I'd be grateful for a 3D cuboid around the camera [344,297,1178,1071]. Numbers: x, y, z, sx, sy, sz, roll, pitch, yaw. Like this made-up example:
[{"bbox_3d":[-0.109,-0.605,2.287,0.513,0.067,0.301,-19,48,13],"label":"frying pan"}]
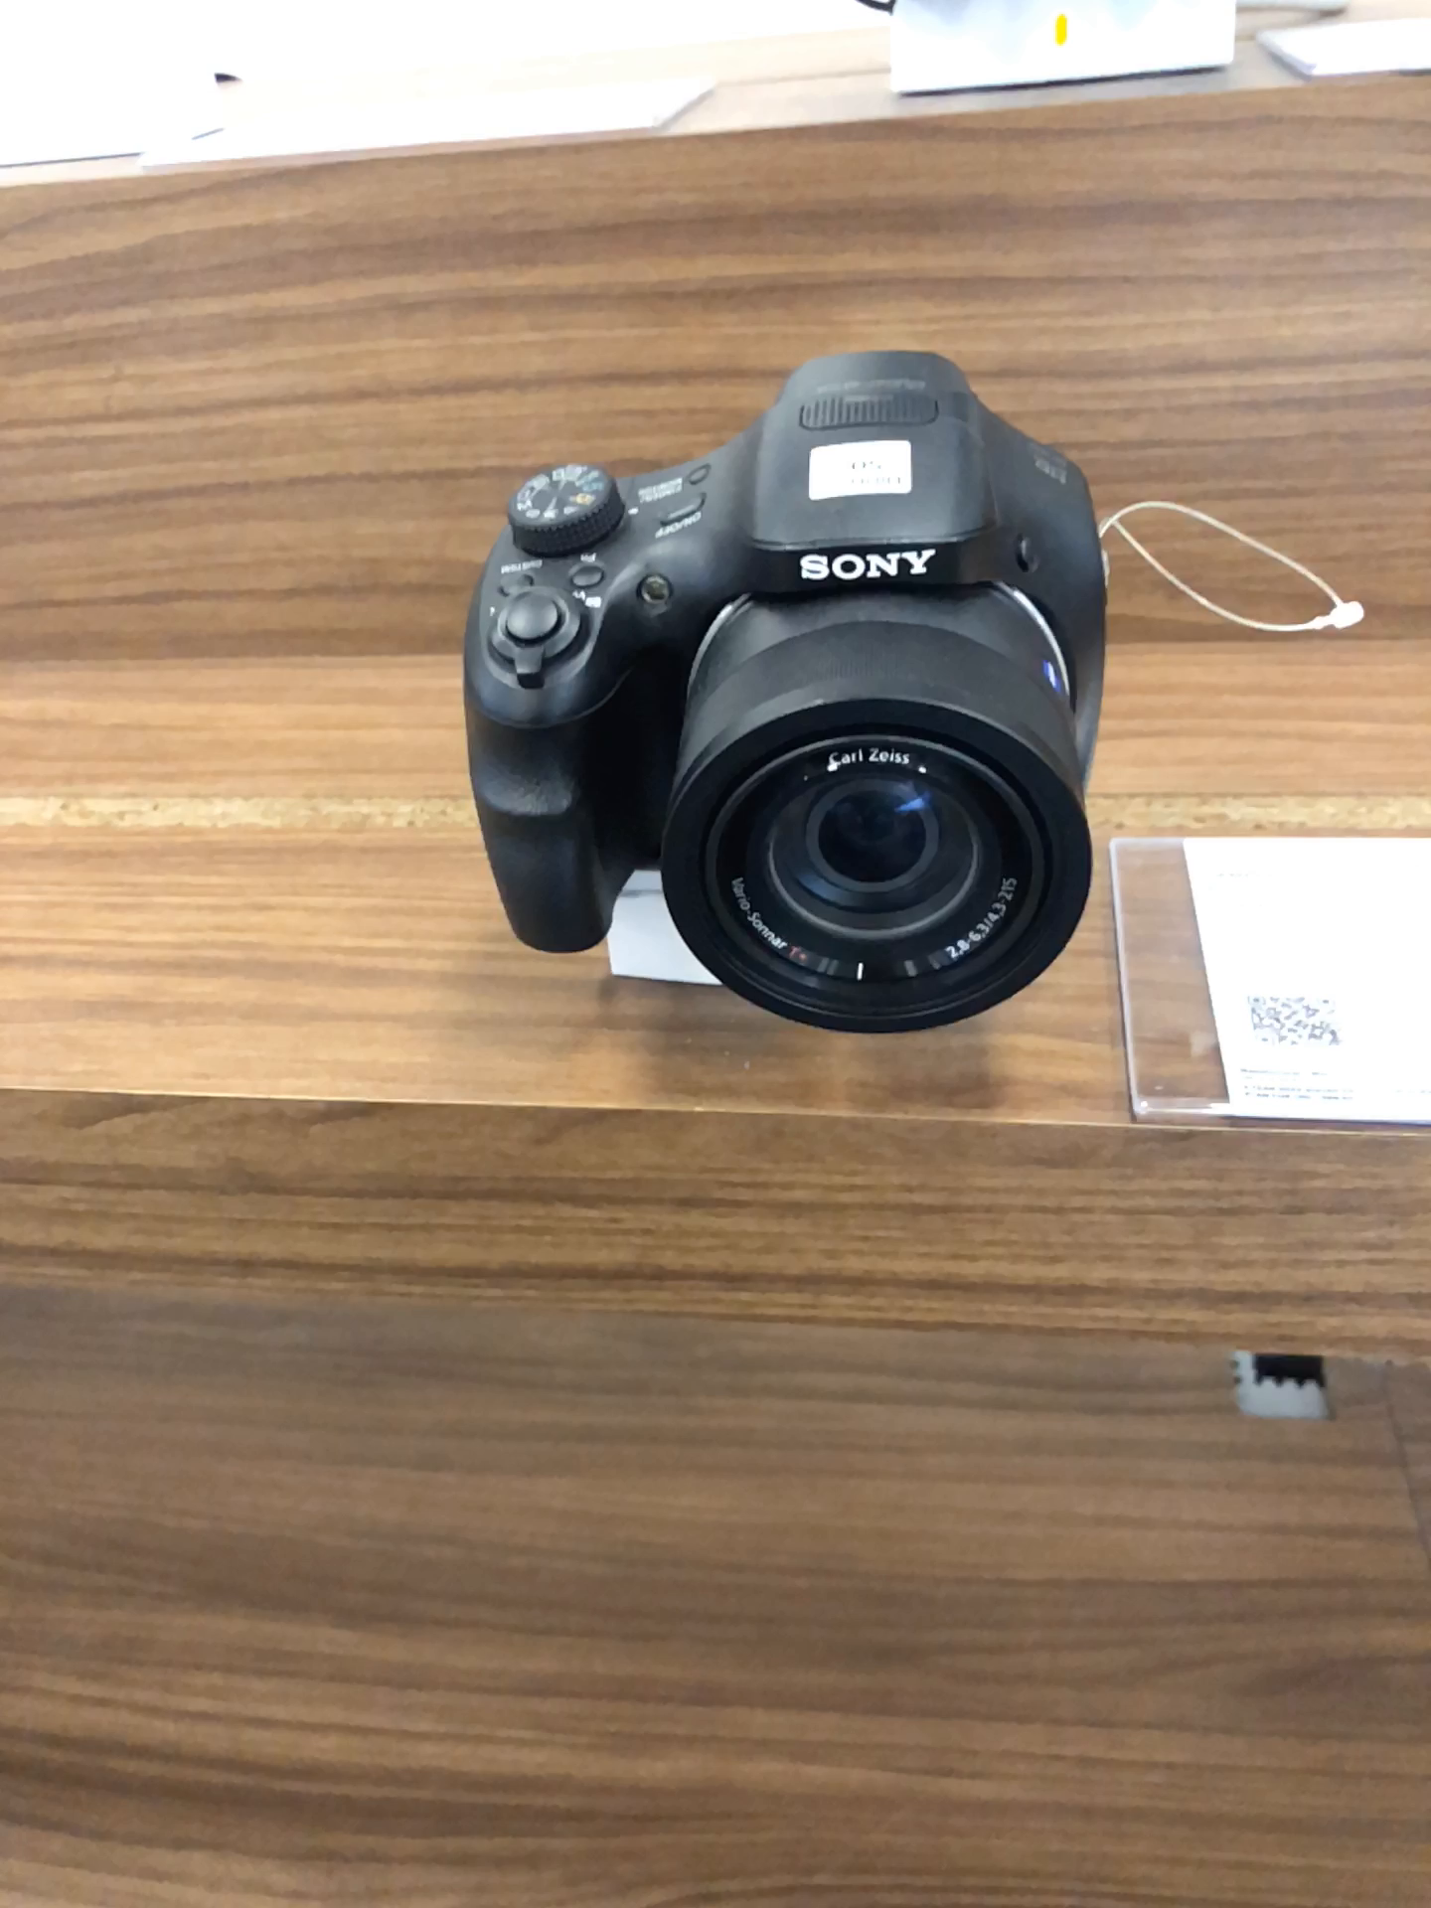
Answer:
[{"bbox_3d":[0.017,-0.061,0.333,0.130,0.100,0.141,0,38,9],"label":"camera"}]
